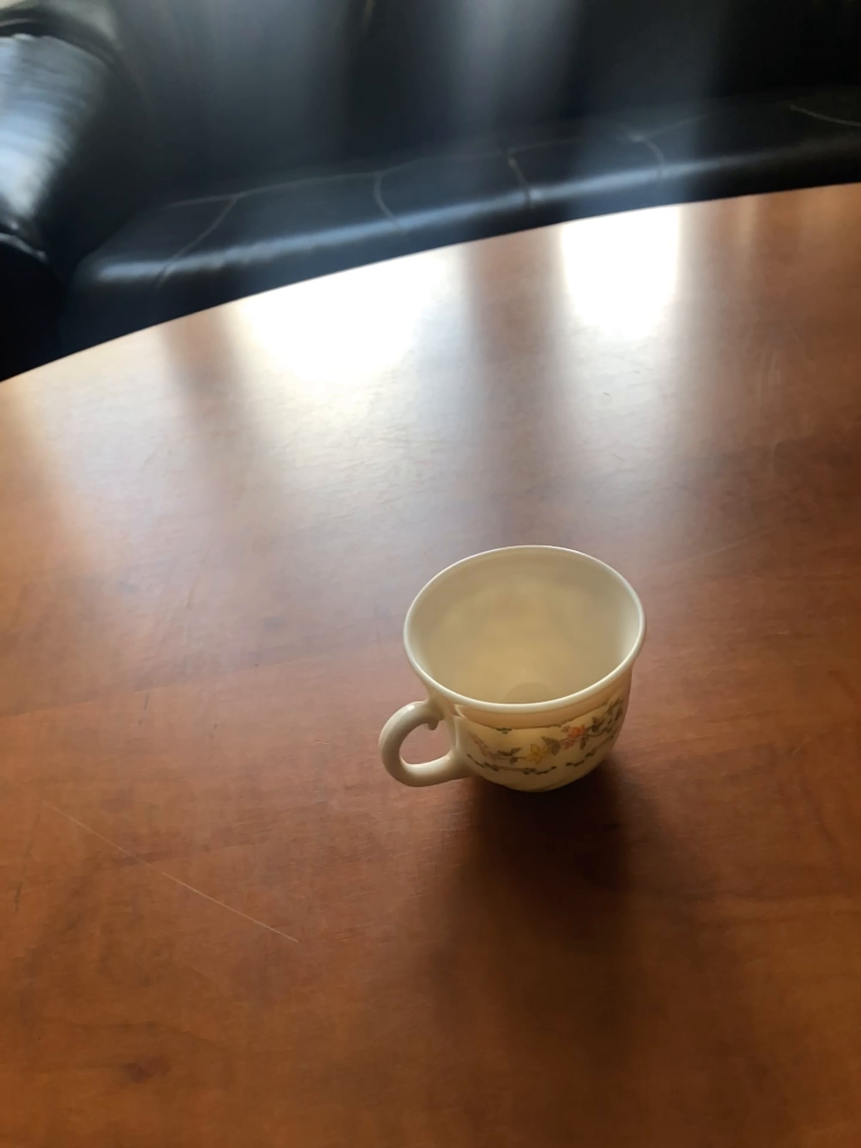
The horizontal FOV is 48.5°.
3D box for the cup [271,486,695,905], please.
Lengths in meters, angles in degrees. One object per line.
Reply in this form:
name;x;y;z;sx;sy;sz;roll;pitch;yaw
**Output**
cup;0.015;0.027;0.249;0.083;0.048;0.063;-30;43;-23
